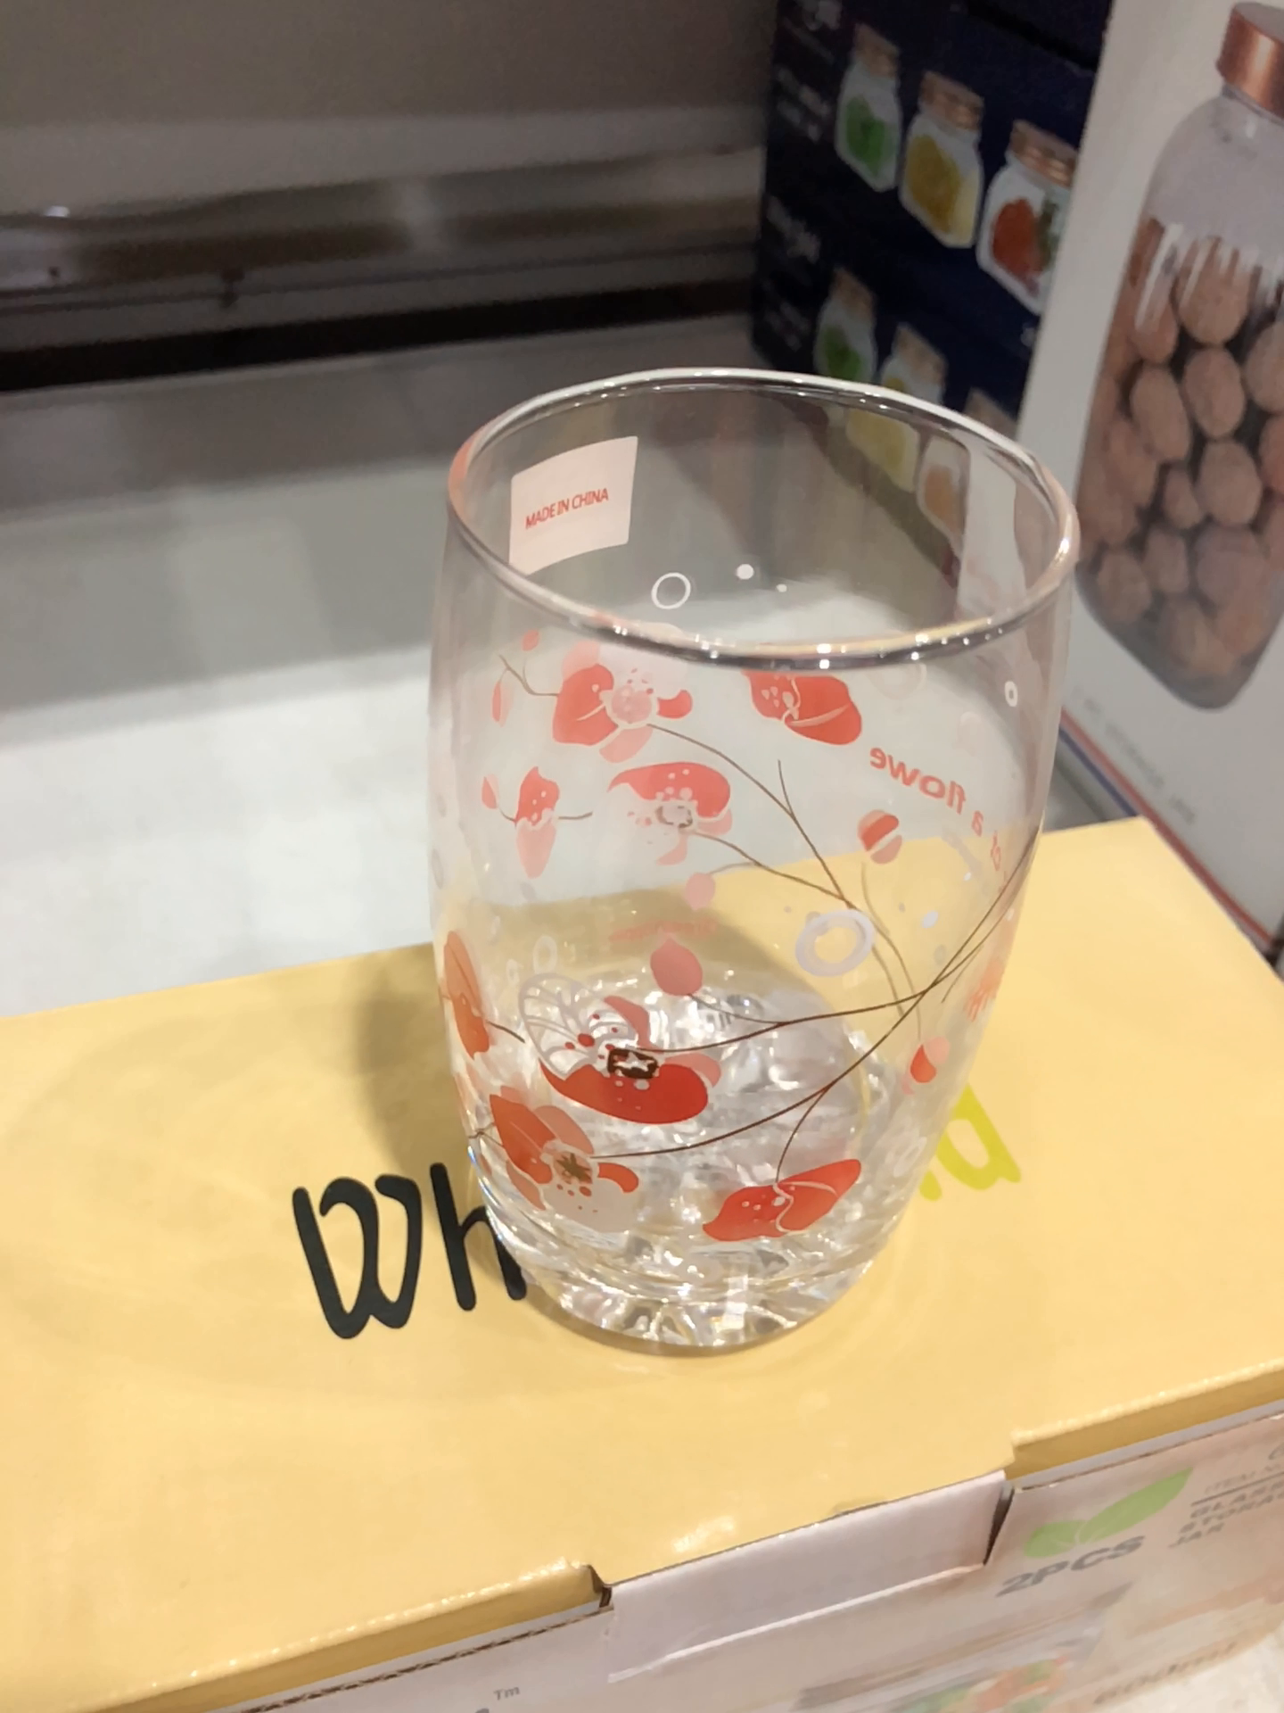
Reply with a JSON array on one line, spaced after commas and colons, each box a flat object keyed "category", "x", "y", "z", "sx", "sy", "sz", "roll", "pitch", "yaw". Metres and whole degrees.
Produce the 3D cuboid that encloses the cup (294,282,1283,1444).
[{"category": "cup", "x": 0.008, "y": 0.002, "z": 0.174, "sx": 0.080, "sy": 0.109, "sz": 0.080, "roll": 2, "pitch": 42, "yaw": -2}]
